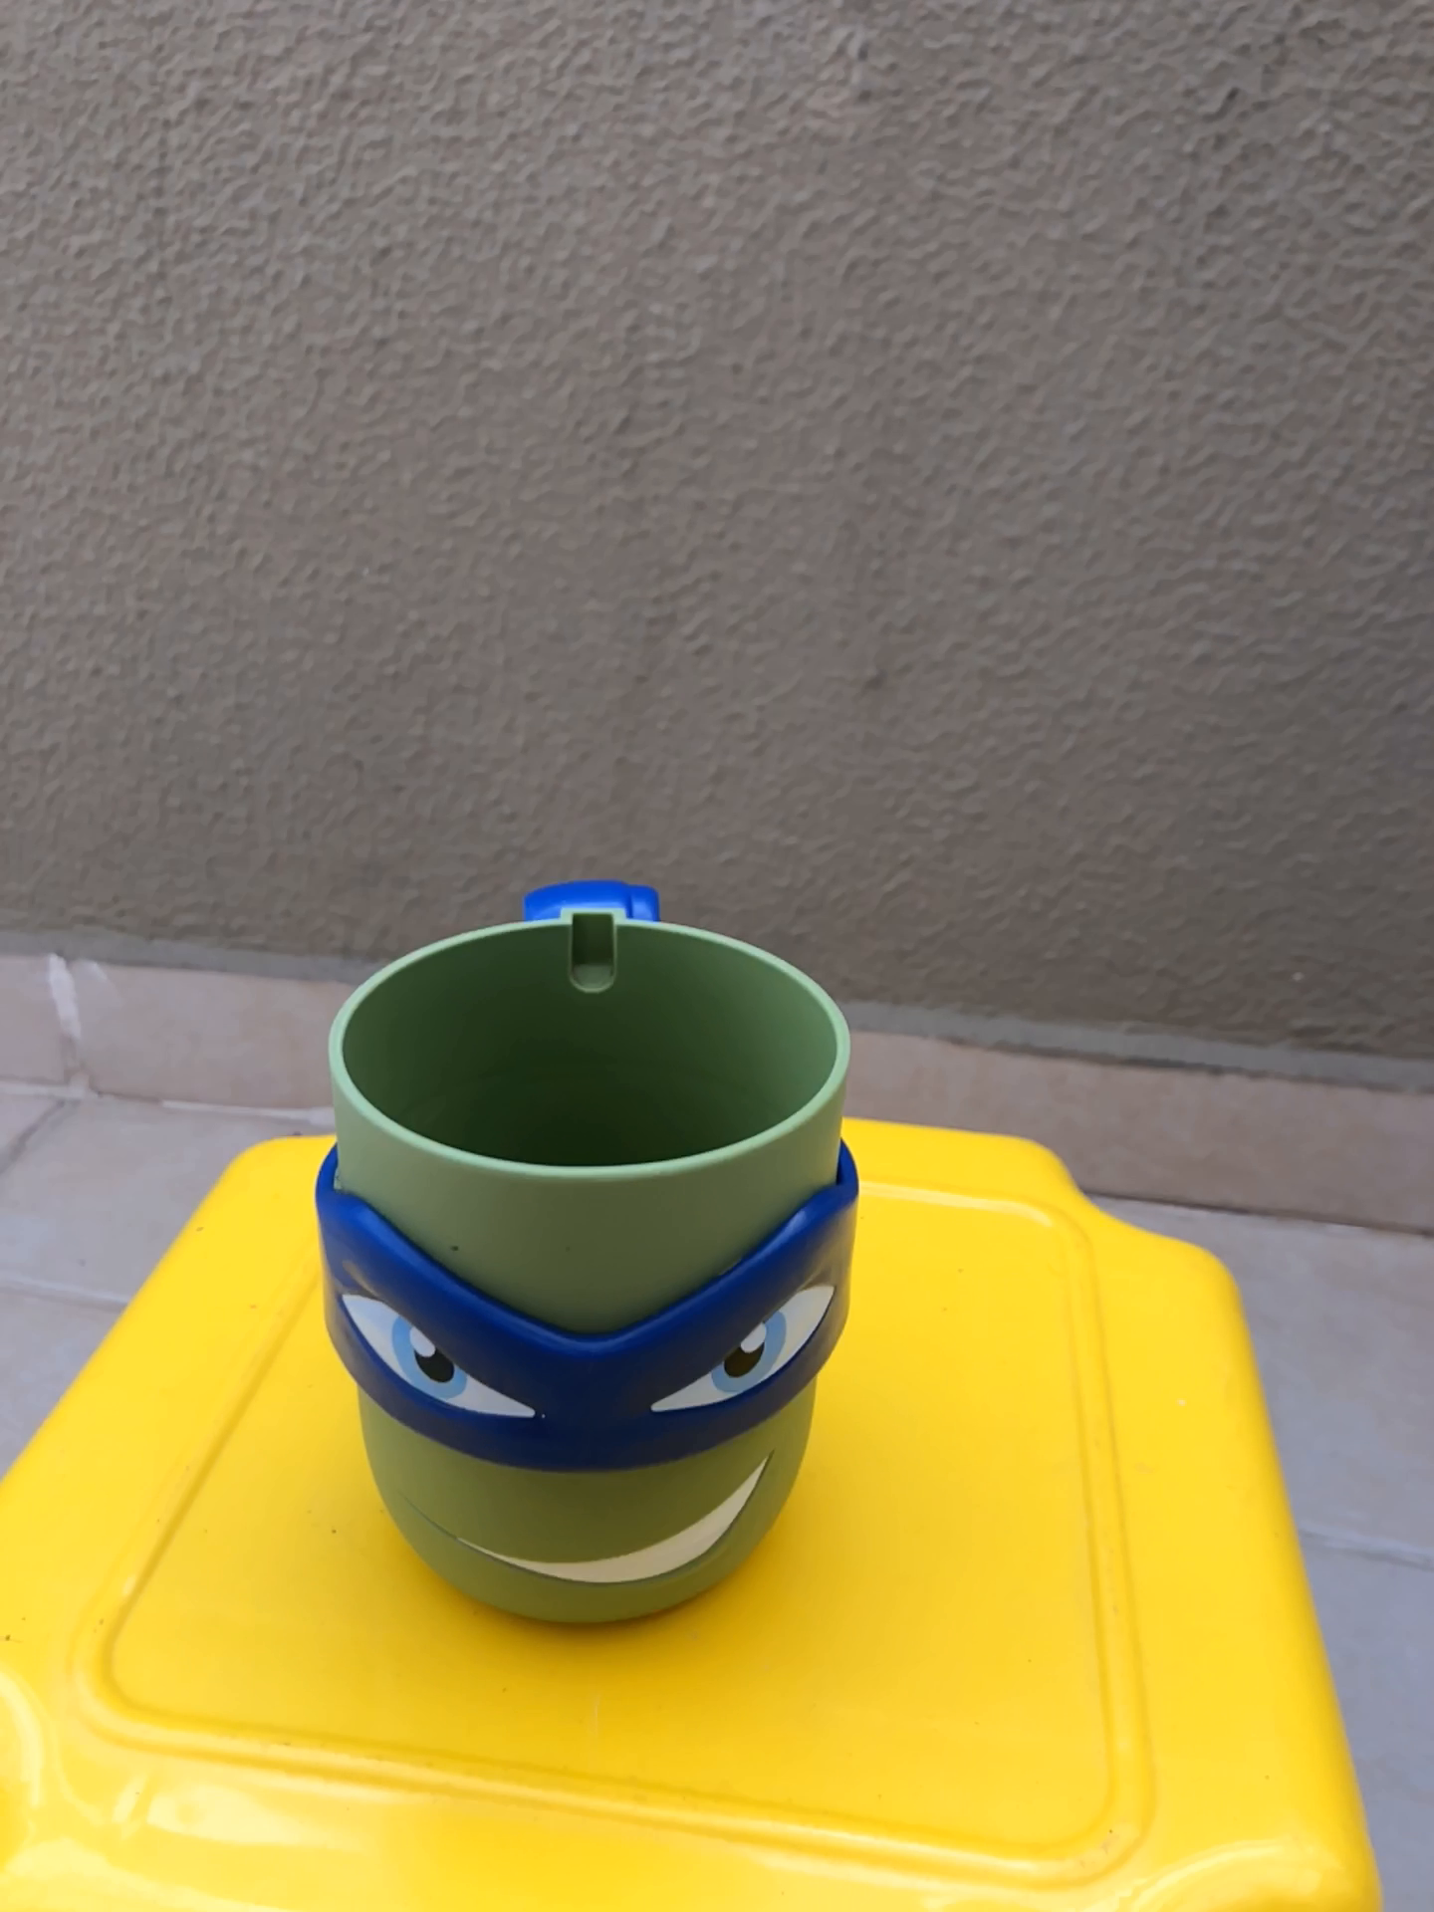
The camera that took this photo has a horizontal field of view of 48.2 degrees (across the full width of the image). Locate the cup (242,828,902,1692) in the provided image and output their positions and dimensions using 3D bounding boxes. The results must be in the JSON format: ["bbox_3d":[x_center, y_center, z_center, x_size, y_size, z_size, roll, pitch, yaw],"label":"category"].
[{"bbox_3d":[-0.021,0.042,0.264,0.080,0.089,0.111,0,26,-3],"label":"cup"}]
